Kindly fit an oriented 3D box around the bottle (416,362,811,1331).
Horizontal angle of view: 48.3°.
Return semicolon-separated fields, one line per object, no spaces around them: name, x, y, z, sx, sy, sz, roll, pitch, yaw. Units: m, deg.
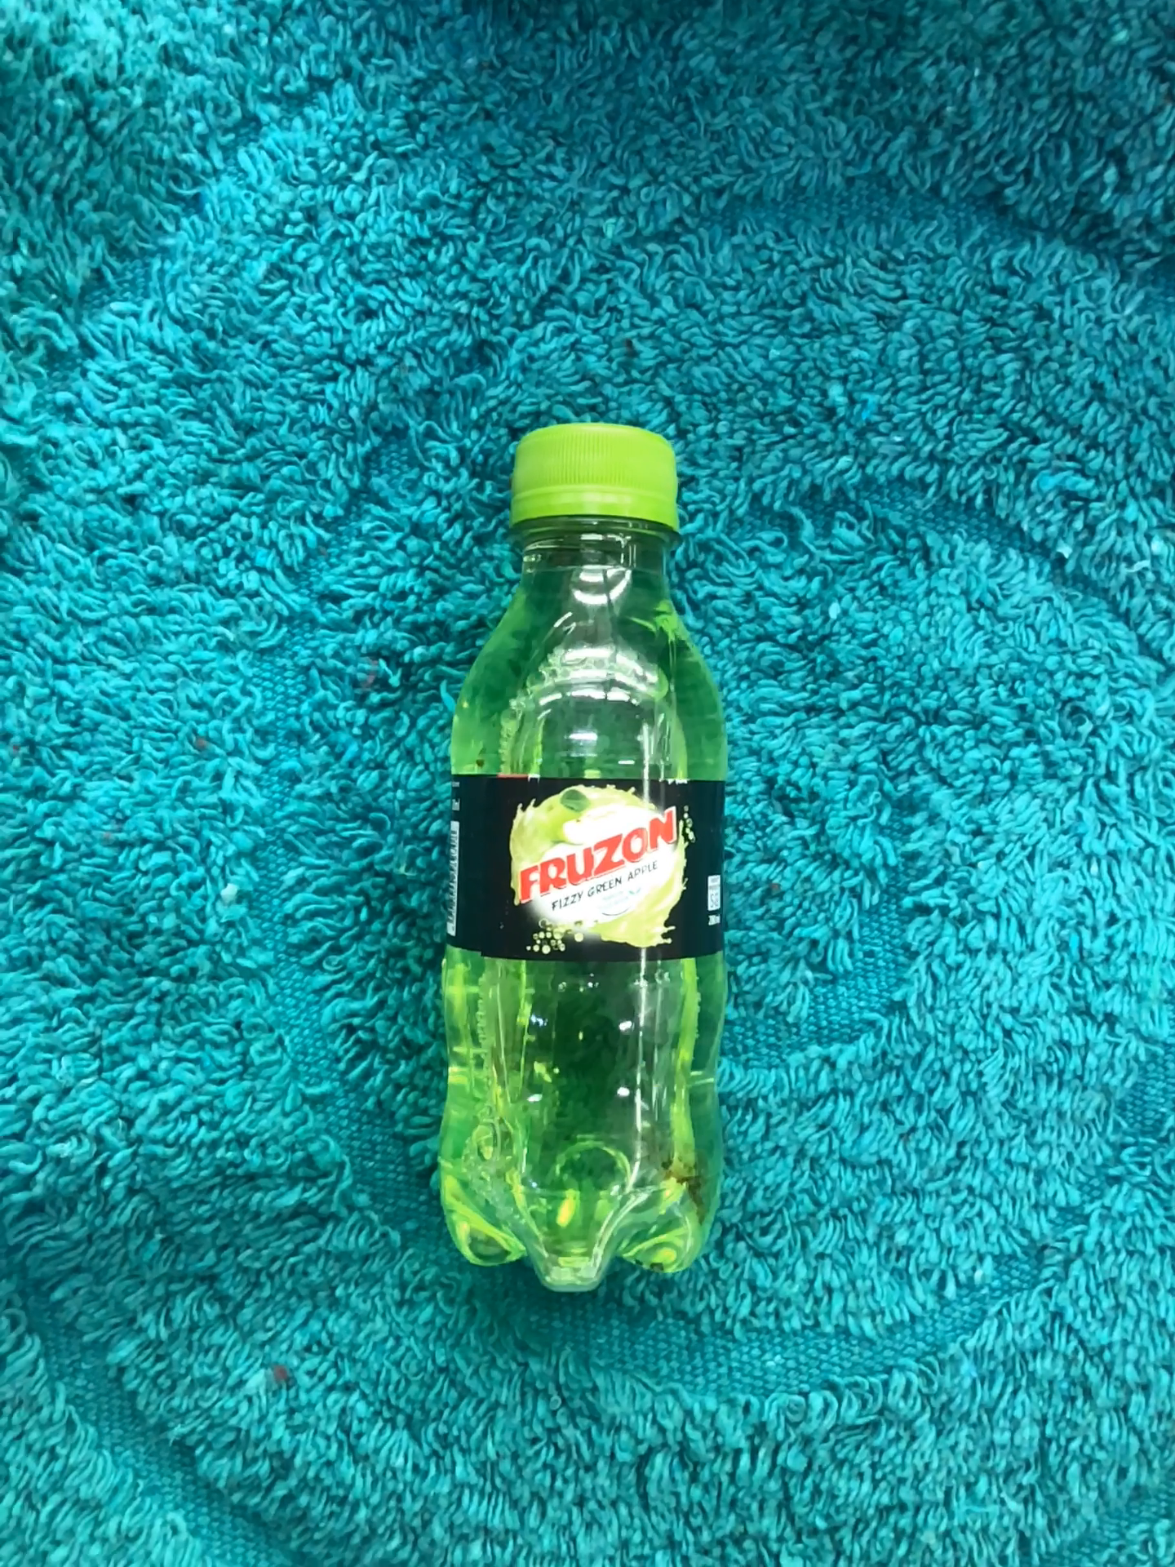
bottle;0.003;0.011;0.243;0.060;0.050;0.160;2;92;-3
